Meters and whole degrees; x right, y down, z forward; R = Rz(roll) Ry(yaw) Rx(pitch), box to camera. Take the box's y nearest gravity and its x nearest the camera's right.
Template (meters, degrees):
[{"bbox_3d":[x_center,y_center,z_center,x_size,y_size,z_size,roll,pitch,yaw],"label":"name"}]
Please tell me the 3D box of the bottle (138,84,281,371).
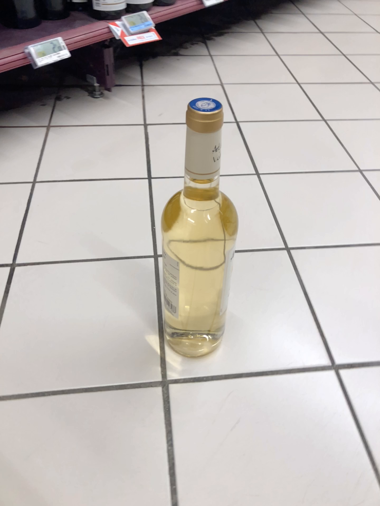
[{"bbox_3d":[0.005,-0.004,0.414,0.090,0.288,0.090,2,44,-2],"label":"bottle"}]
